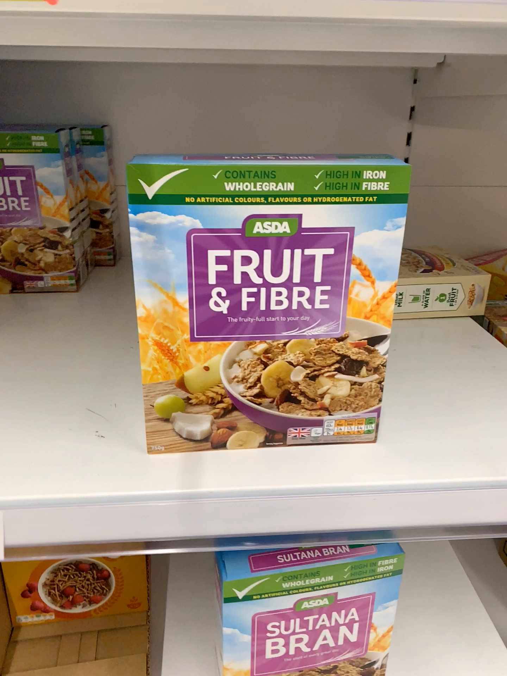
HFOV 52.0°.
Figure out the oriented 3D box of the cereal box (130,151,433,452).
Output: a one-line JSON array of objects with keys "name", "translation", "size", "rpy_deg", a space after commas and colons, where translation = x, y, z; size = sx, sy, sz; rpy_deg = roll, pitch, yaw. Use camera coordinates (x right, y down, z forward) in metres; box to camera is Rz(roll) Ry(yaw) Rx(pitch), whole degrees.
[{"name": "cereal box", "translation": [0.019, -0.031, 0.479], "size": [0.230, 0.258, 0.081], "rpy_deg": [-1, 24, -5]}]
